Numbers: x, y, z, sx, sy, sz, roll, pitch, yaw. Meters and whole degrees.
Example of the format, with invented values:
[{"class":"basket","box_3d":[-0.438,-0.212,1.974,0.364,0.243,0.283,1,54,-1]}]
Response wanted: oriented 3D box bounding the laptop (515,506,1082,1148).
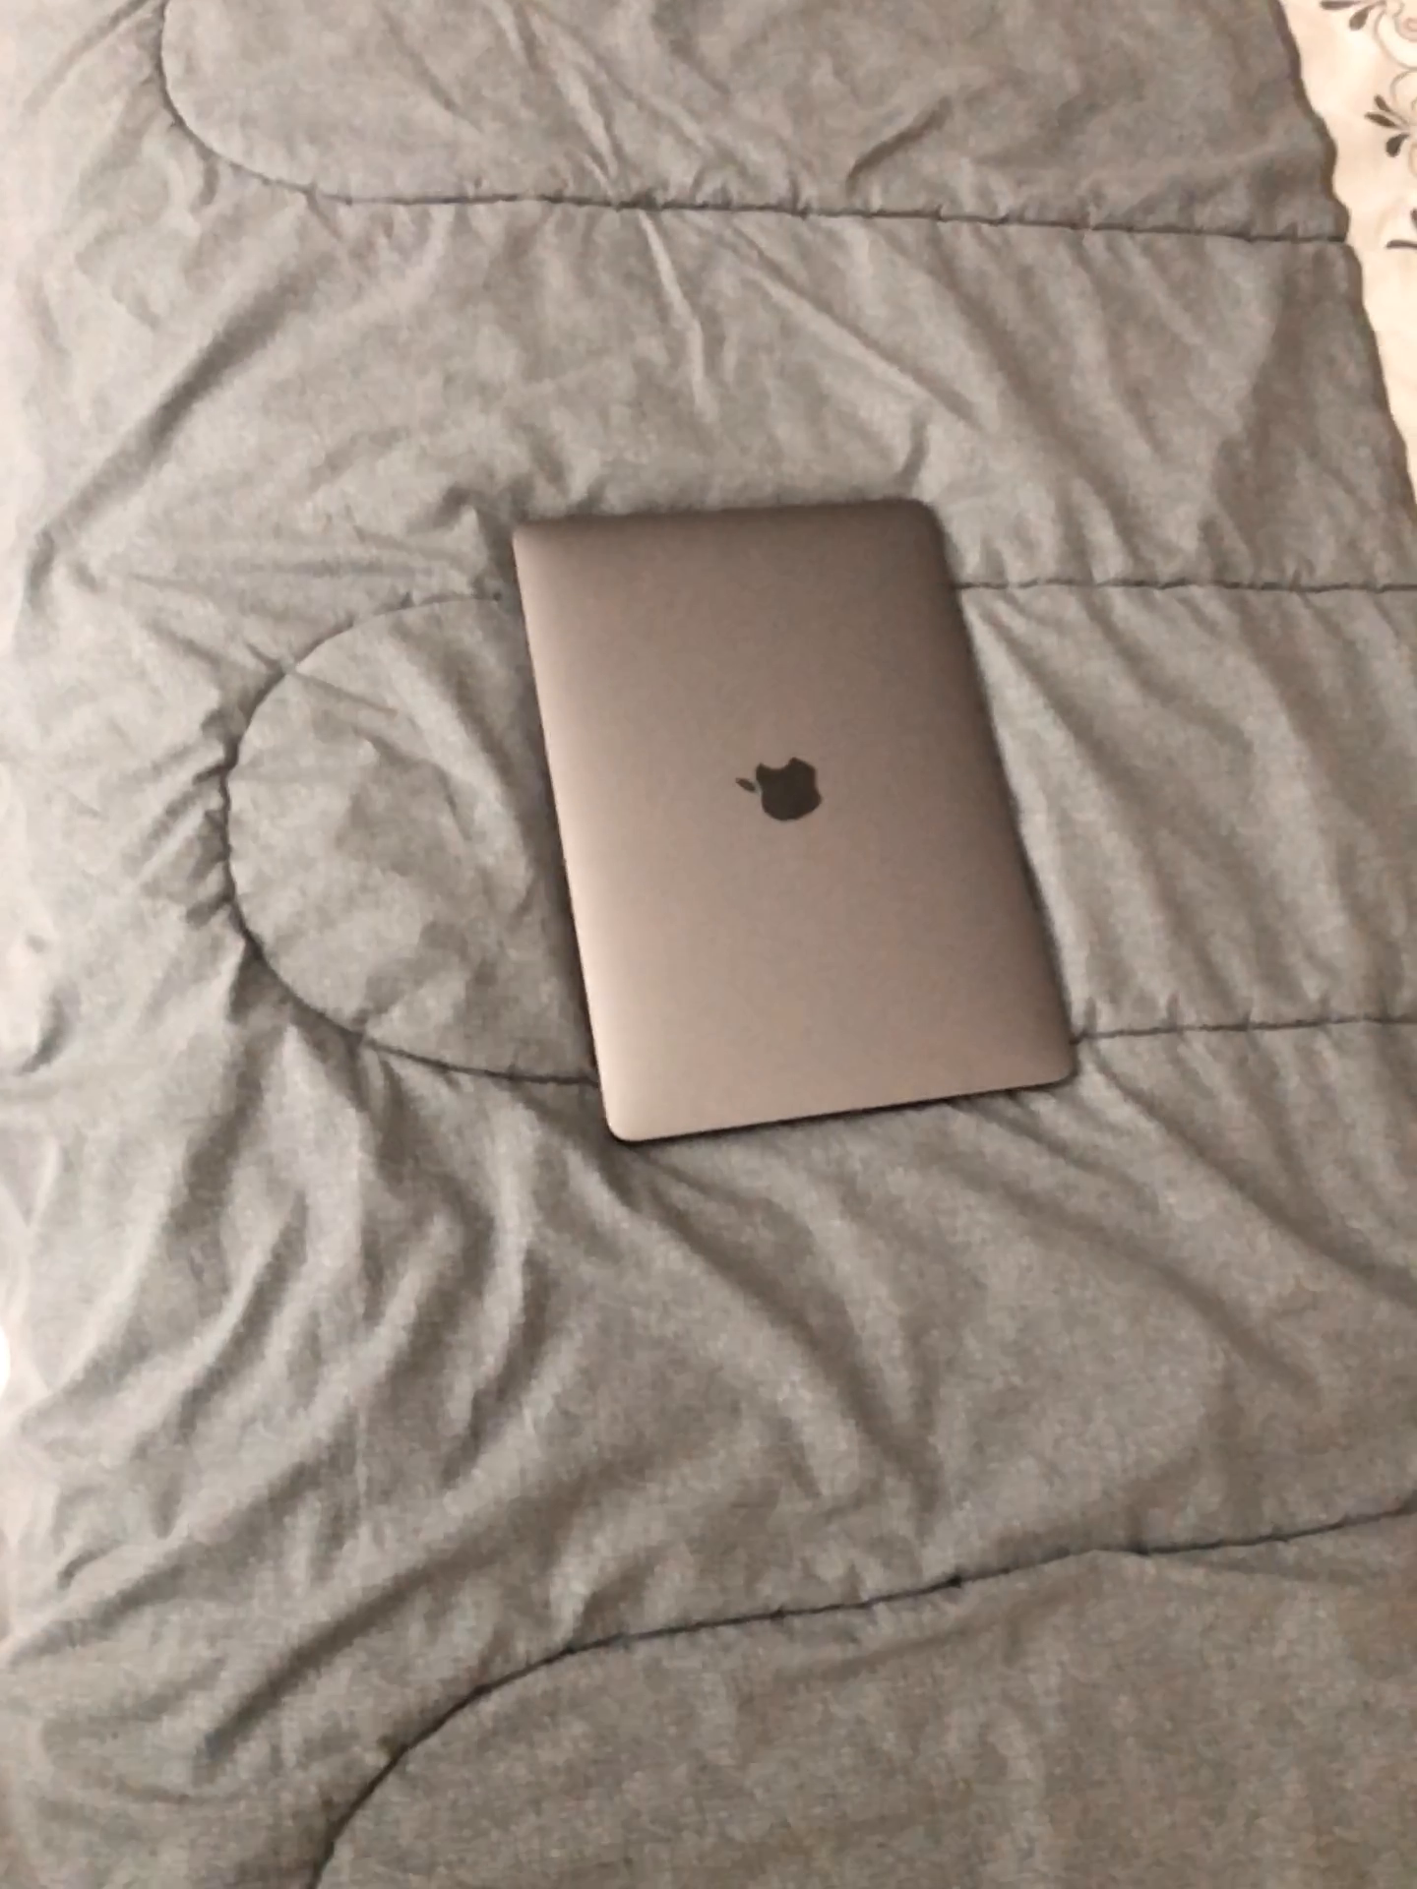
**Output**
[{"class":"laptop","box_3d":[0.036,-0.067,0.721,0.207,0.008,0.295,-7,71,-11]}]
